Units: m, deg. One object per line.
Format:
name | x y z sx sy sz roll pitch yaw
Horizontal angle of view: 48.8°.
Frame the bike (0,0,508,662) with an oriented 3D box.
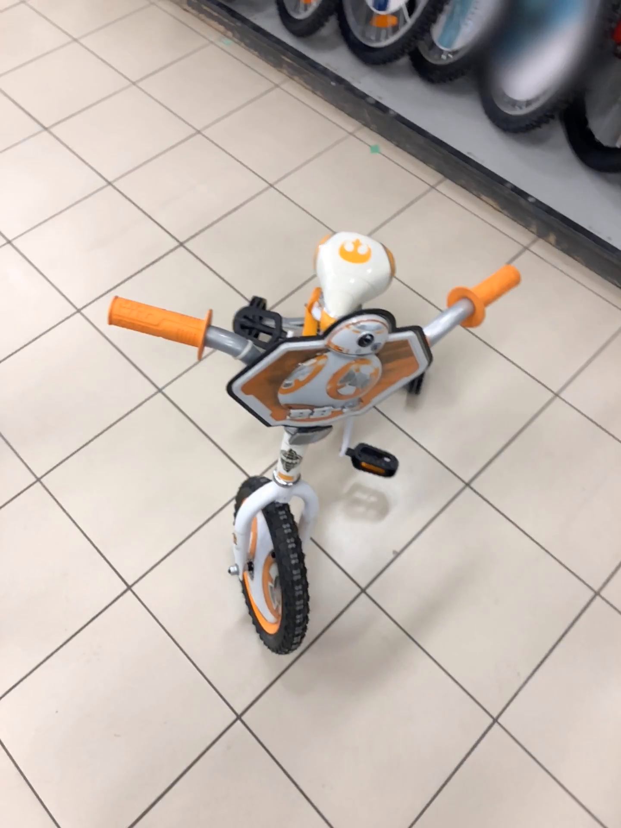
bike | -0.004 -0.095 1.114 0.435 0.714 0.817 7 60 4
